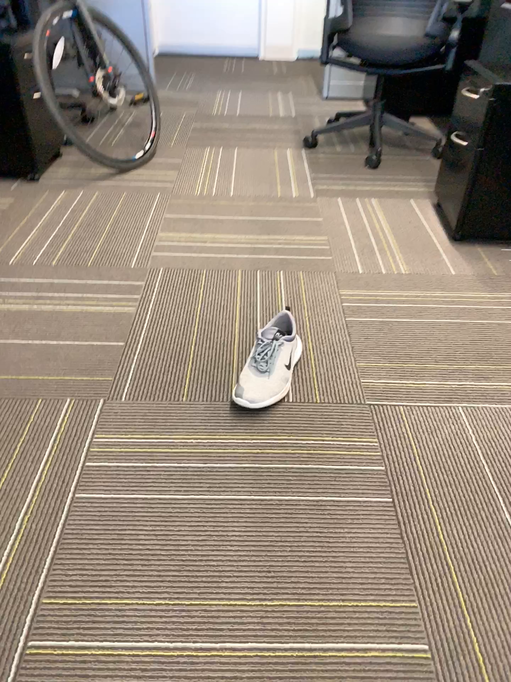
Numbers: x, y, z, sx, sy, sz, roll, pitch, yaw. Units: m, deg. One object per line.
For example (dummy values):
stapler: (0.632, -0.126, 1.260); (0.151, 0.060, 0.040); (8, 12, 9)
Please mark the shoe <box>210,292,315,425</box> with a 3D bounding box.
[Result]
shoe: (0.026, 0.027, 1.251); (0.160, 0.109, 0.332); (12, 39, 12)
